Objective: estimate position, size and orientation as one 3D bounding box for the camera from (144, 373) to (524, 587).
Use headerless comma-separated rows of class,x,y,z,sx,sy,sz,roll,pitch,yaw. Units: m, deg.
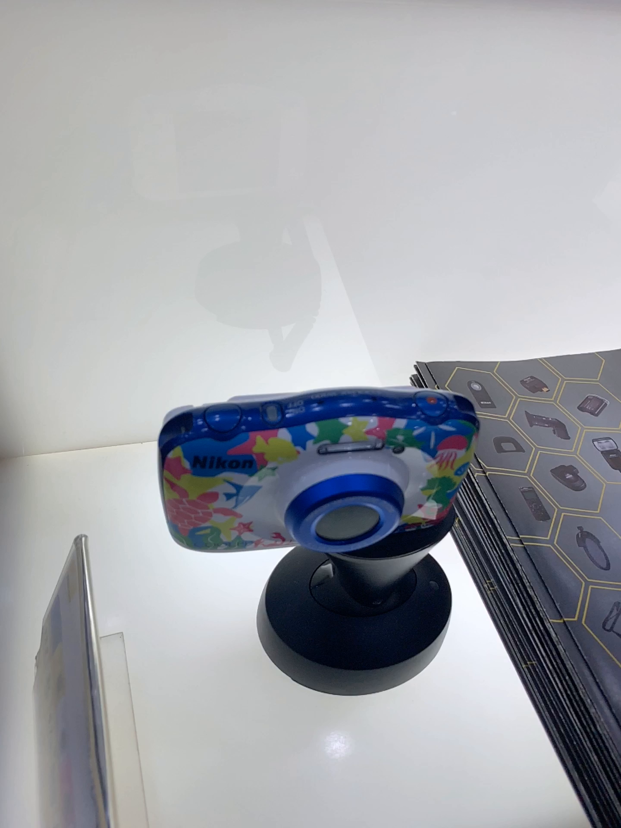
camera,0.004,0.024,0.232,0.120,0.060,0.040,-3,47,-11
